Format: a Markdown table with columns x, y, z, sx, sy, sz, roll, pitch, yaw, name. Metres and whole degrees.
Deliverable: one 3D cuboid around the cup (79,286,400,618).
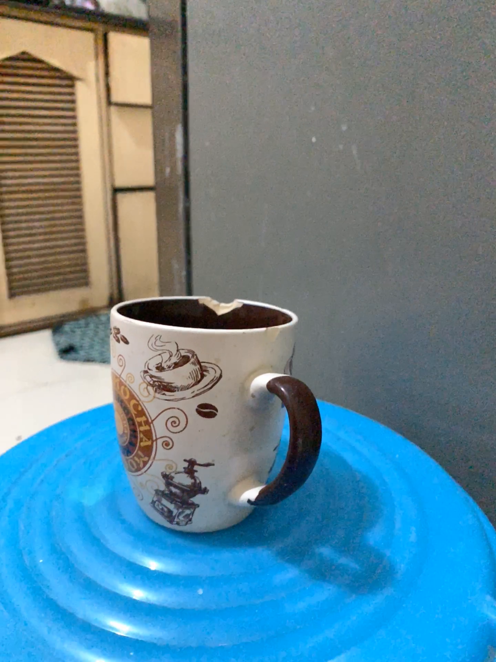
| x | y | z | sx | sy | sz | roll | pitch | yaw | name |
| --- | --- | --- | --- | --- | --- | --- | --- | --- | --- |
| -0.009 | 0.033 | 0.214 | 0.070 | 0.083 | 0.110 | -10 | 18 | -44 | cup |
